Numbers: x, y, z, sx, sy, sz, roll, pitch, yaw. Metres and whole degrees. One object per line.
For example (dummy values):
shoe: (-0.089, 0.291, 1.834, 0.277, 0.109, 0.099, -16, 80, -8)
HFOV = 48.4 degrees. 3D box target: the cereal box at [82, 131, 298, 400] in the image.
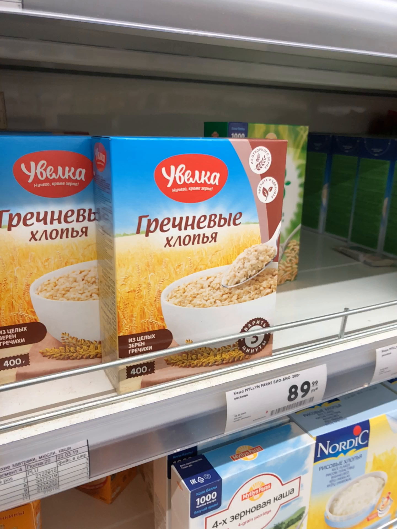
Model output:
cereal box: (-0.006, -0.008, 0.356, 0.150, 0.189, 0.060, -7, 18, -25)
